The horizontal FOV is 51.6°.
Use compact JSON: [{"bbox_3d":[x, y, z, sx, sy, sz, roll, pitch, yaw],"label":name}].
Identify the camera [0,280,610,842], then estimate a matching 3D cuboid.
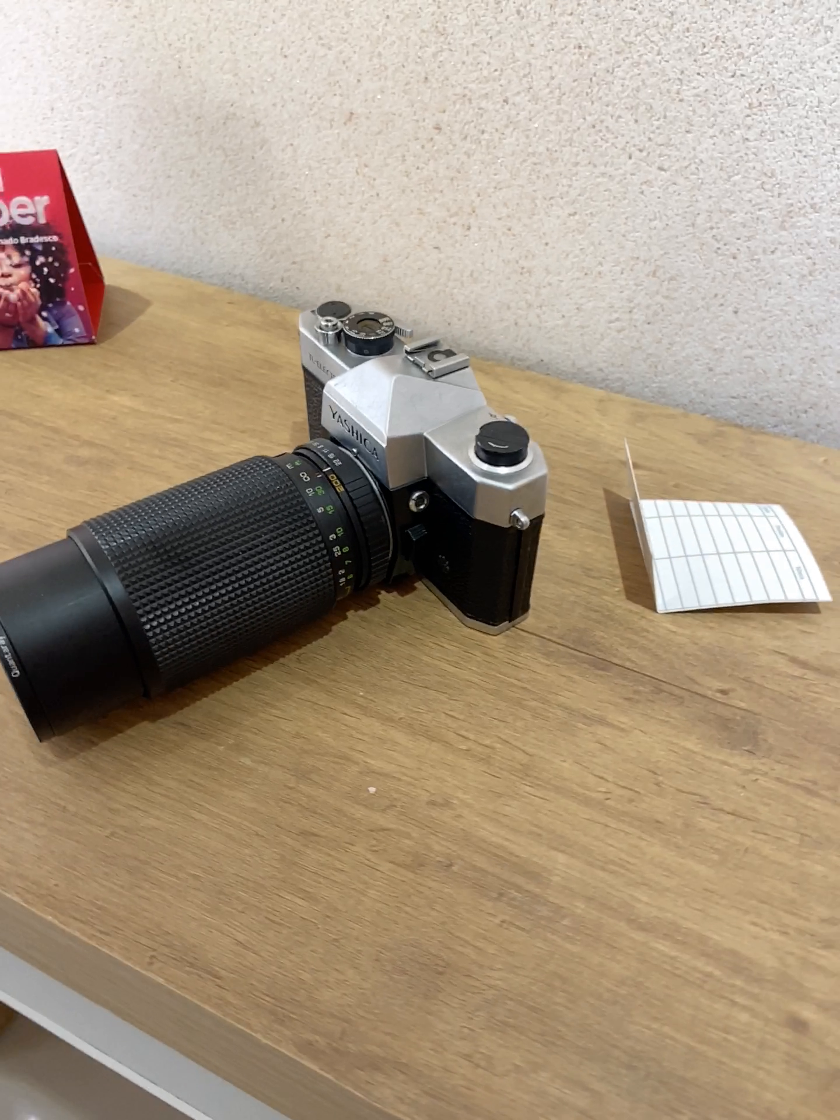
[{"bbox_3d":[-0.059,-0.018,0.337,0.200,0.080,0.151,-22,48,-22],"label":"camera"}]
